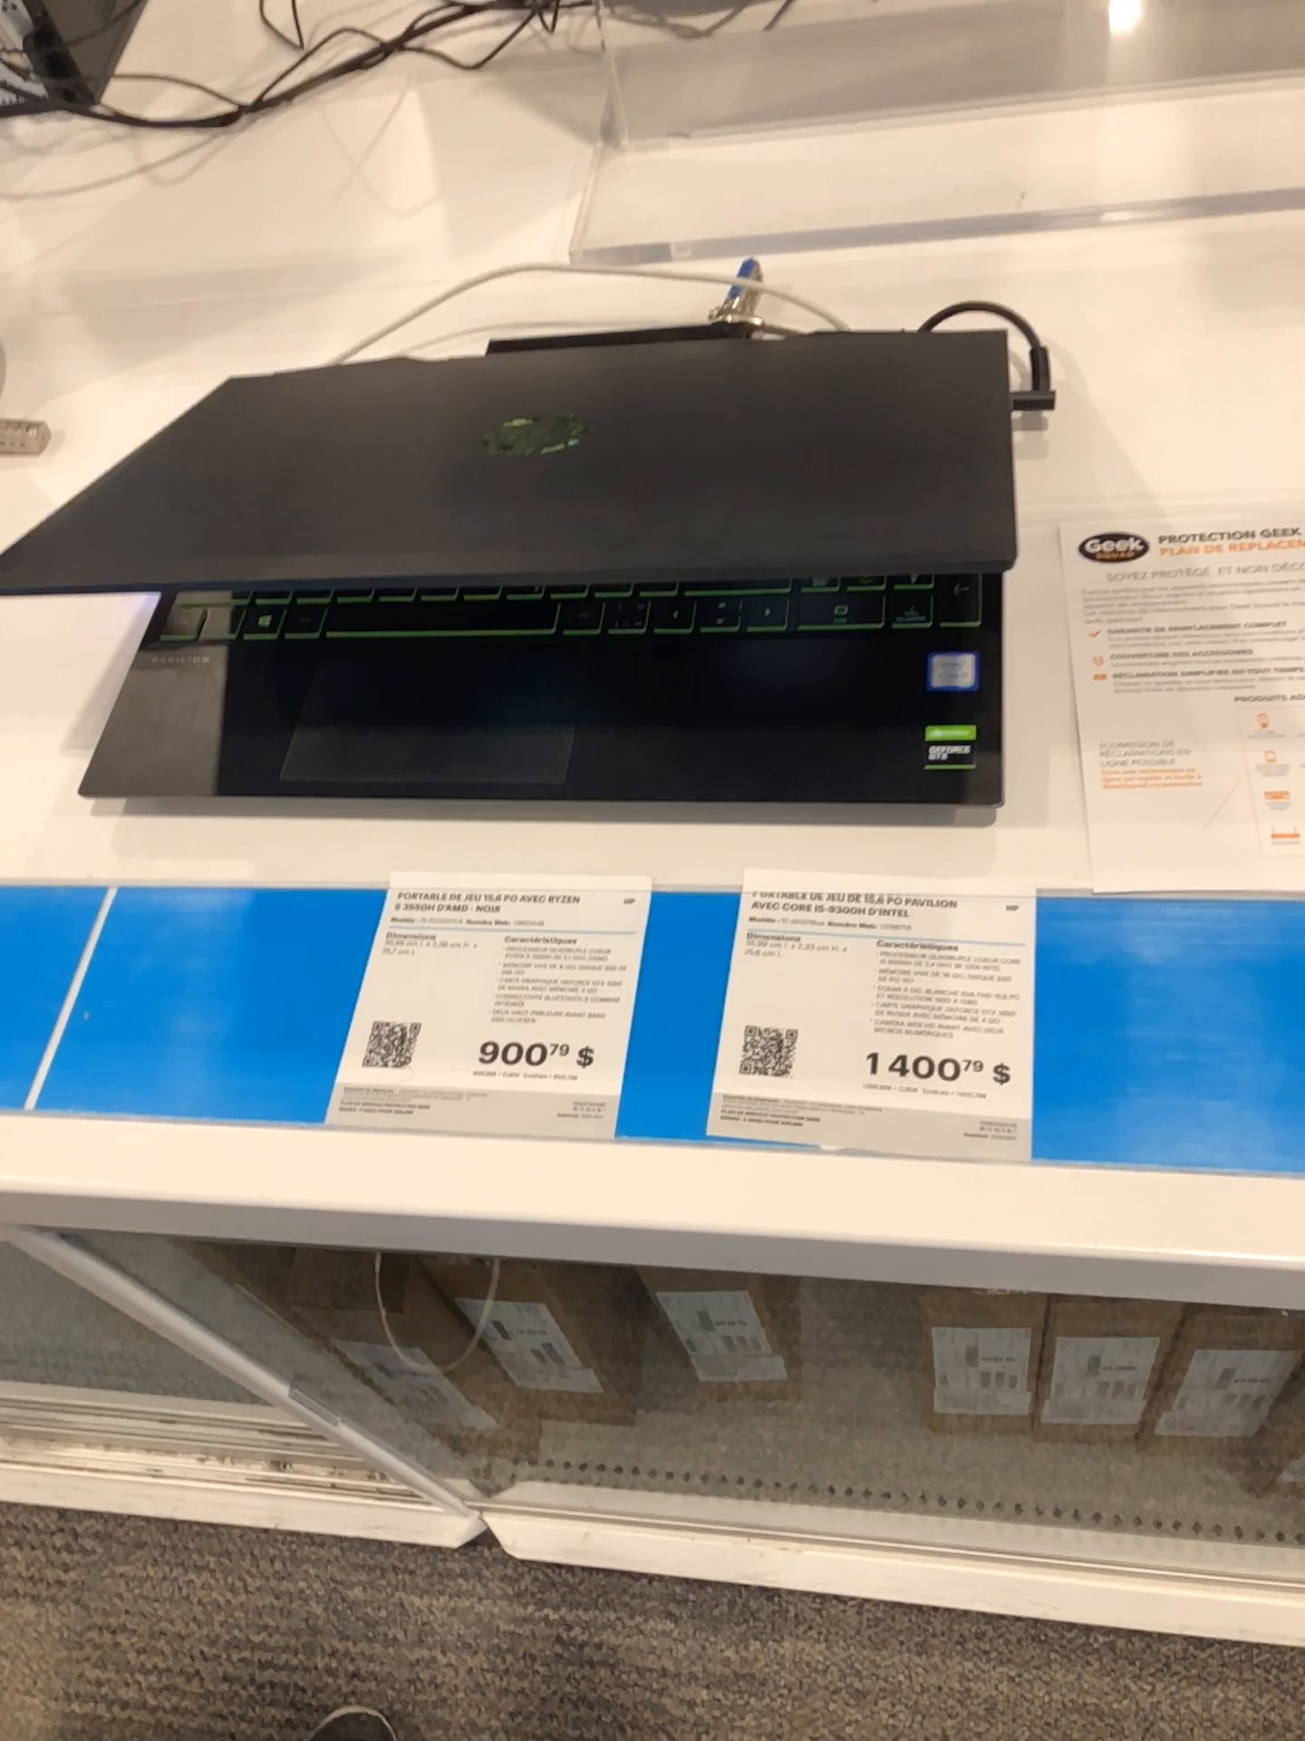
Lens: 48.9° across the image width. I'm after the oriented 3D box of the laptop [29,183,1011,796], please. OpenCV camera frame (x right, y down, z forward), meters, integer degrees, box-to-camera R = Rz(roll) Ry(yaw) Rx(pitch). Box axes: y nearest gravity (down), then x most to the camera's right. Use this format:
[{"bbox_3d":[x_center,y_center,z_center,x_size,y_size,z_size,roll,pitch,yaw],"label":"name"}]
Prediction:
[{"bbox_3d":[-0.038,-0.144,0.552,0.339,0.064,0.221,0,62,12],"label":"laptop"}]
